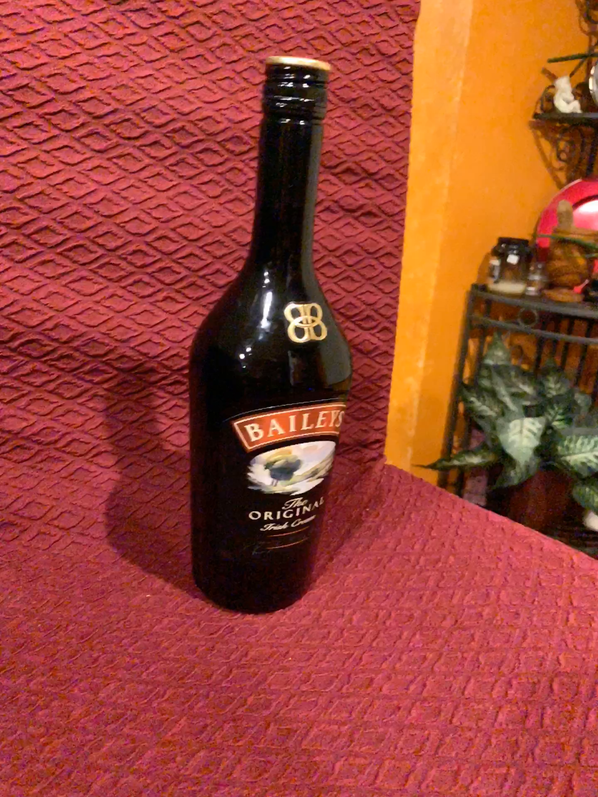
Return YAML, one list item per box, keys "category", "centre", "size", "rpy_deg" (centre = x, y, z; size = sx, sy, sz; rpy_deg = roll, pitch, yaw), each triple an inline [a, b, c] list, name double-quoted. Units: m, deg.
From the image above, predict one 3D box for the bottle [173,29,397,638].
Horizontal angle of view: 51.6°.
- category: "bottle"
  centre: [-0.017, -0.023, 0.334]
  size: [0.080, 0.289, 0.070]
  rpy_deg: [-8, 23, -29]
